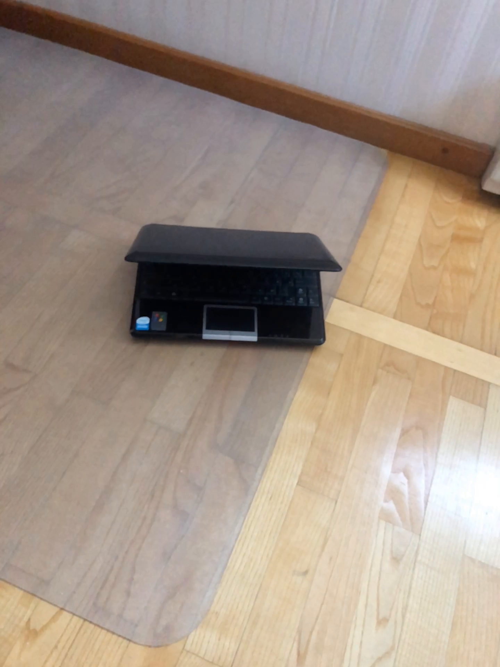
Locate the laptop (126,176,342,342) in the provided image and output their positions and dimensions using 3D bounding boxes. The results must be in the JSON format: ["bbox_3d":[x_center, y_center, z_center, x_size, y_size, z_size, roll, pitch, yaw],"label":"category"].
[{"bbox_3d":[-0.022,-0.100,0.758,0.263,0.102,0.183,2,58,-6],"label":"laptop"}]
